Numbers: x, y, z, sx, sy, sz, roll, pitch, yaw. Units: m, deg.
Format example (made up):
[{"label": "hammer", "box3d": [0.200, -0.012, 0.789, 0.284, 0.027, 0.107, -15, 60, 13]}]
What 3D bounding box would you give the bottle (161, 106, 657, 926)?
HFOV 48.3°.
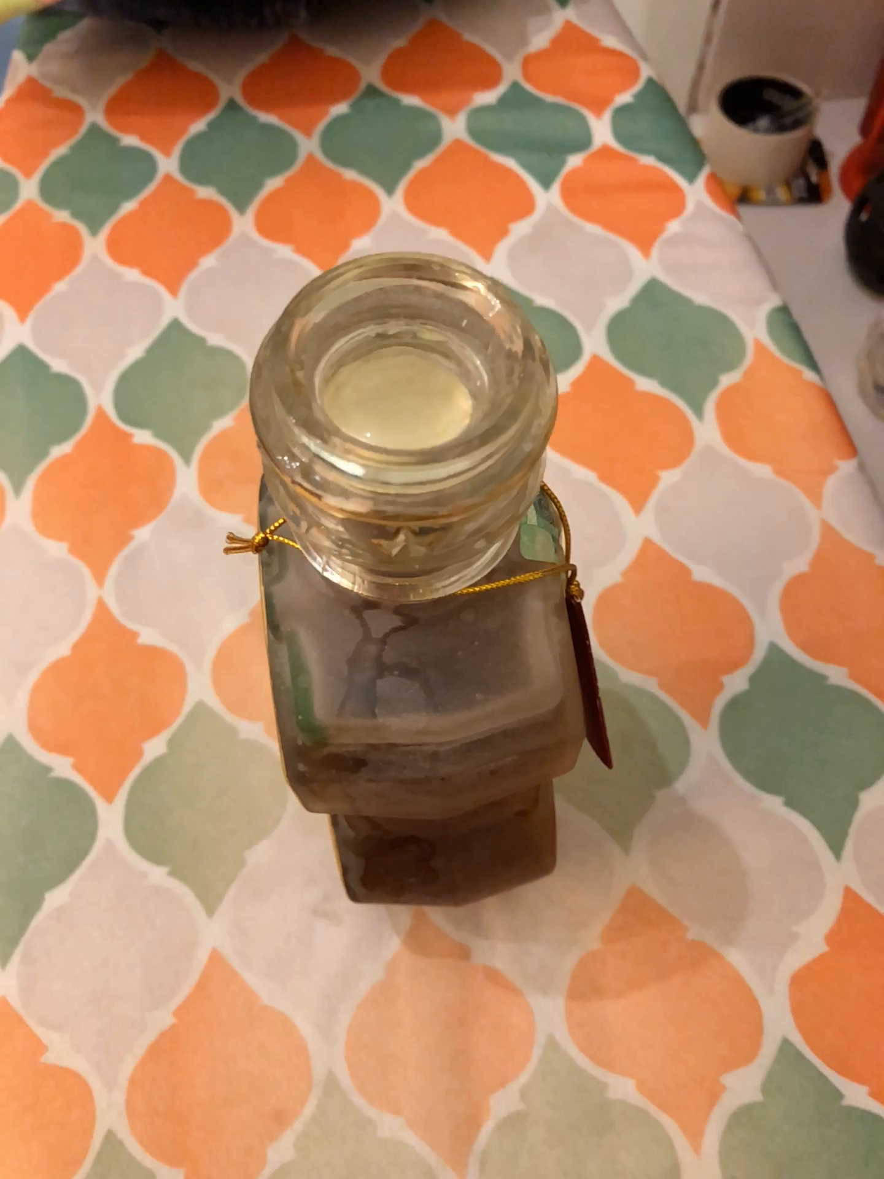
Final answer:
[{"label": "bottle", "box3d": [-0.007, 0.015, 0.256, 0.064, 0.233, 0.100, -8, 64, -2]}]
